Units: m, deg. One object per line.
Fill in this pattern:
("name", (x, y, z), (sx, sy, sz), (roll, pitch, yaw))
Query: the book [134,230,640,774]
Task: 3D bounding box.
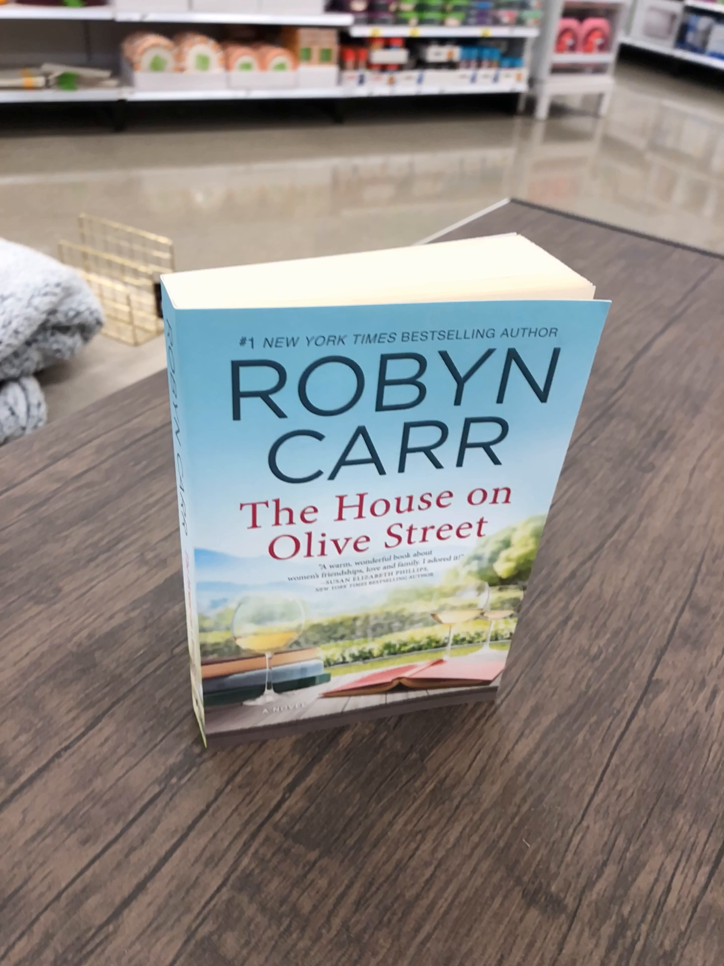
("book", (0.001, 0.013, 0.304), (0.146, 0.195, 0.050), (-8, 38, -17))
